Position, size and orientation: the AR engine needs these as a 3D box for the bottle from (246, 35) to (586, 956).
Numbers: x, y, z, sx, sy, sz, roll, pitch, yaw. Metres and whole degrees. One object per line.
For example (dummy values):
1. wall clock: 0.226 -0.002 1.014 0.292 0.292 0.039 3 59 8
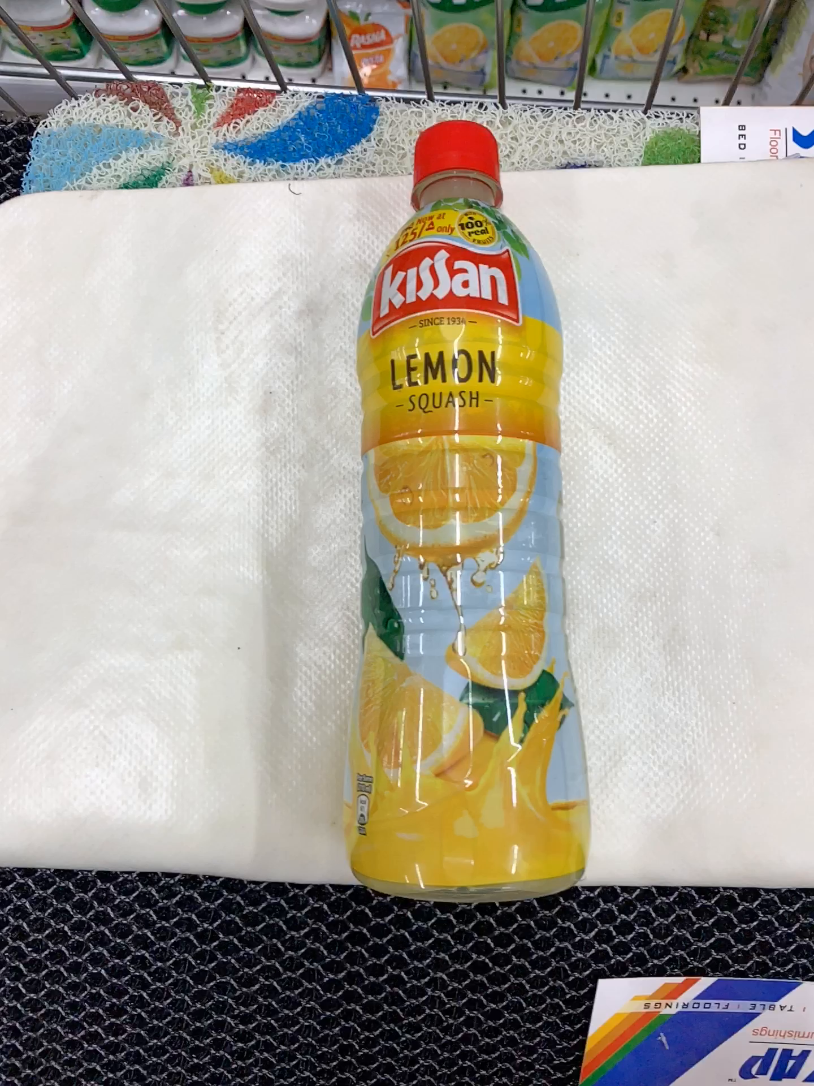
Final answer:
1. bottle: 0.000 -0.014 0.245 0.080 0.070 0.230 0 84 -3
